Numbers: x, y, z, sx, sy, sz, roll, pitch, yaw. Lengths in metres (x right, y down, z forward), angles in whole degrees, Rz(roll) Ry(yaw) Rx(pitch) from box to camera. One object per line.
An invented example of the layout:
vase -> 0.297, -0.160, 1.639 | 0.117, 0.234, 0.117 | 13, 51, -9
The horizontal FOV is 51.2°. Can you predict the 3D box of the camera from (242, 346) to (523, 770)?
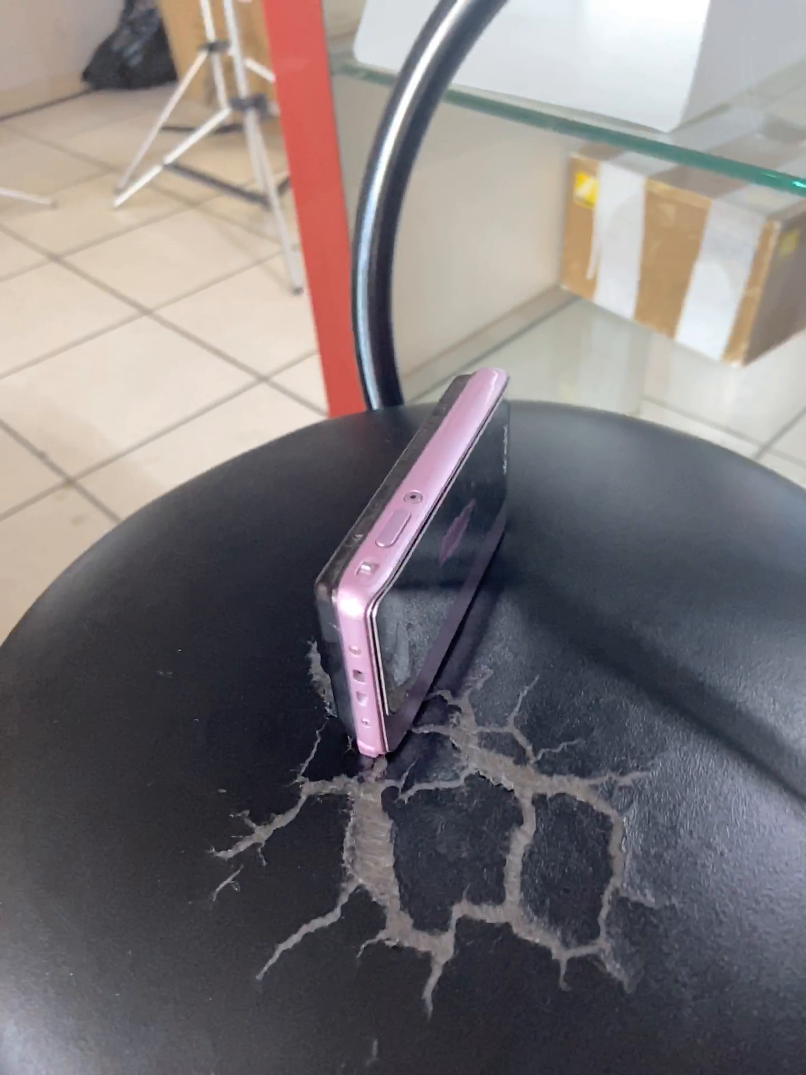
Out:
camera -> 0.001, 0.000, 0.217 | 0.030, 0.050, 0.101 | 13, 46, 18
